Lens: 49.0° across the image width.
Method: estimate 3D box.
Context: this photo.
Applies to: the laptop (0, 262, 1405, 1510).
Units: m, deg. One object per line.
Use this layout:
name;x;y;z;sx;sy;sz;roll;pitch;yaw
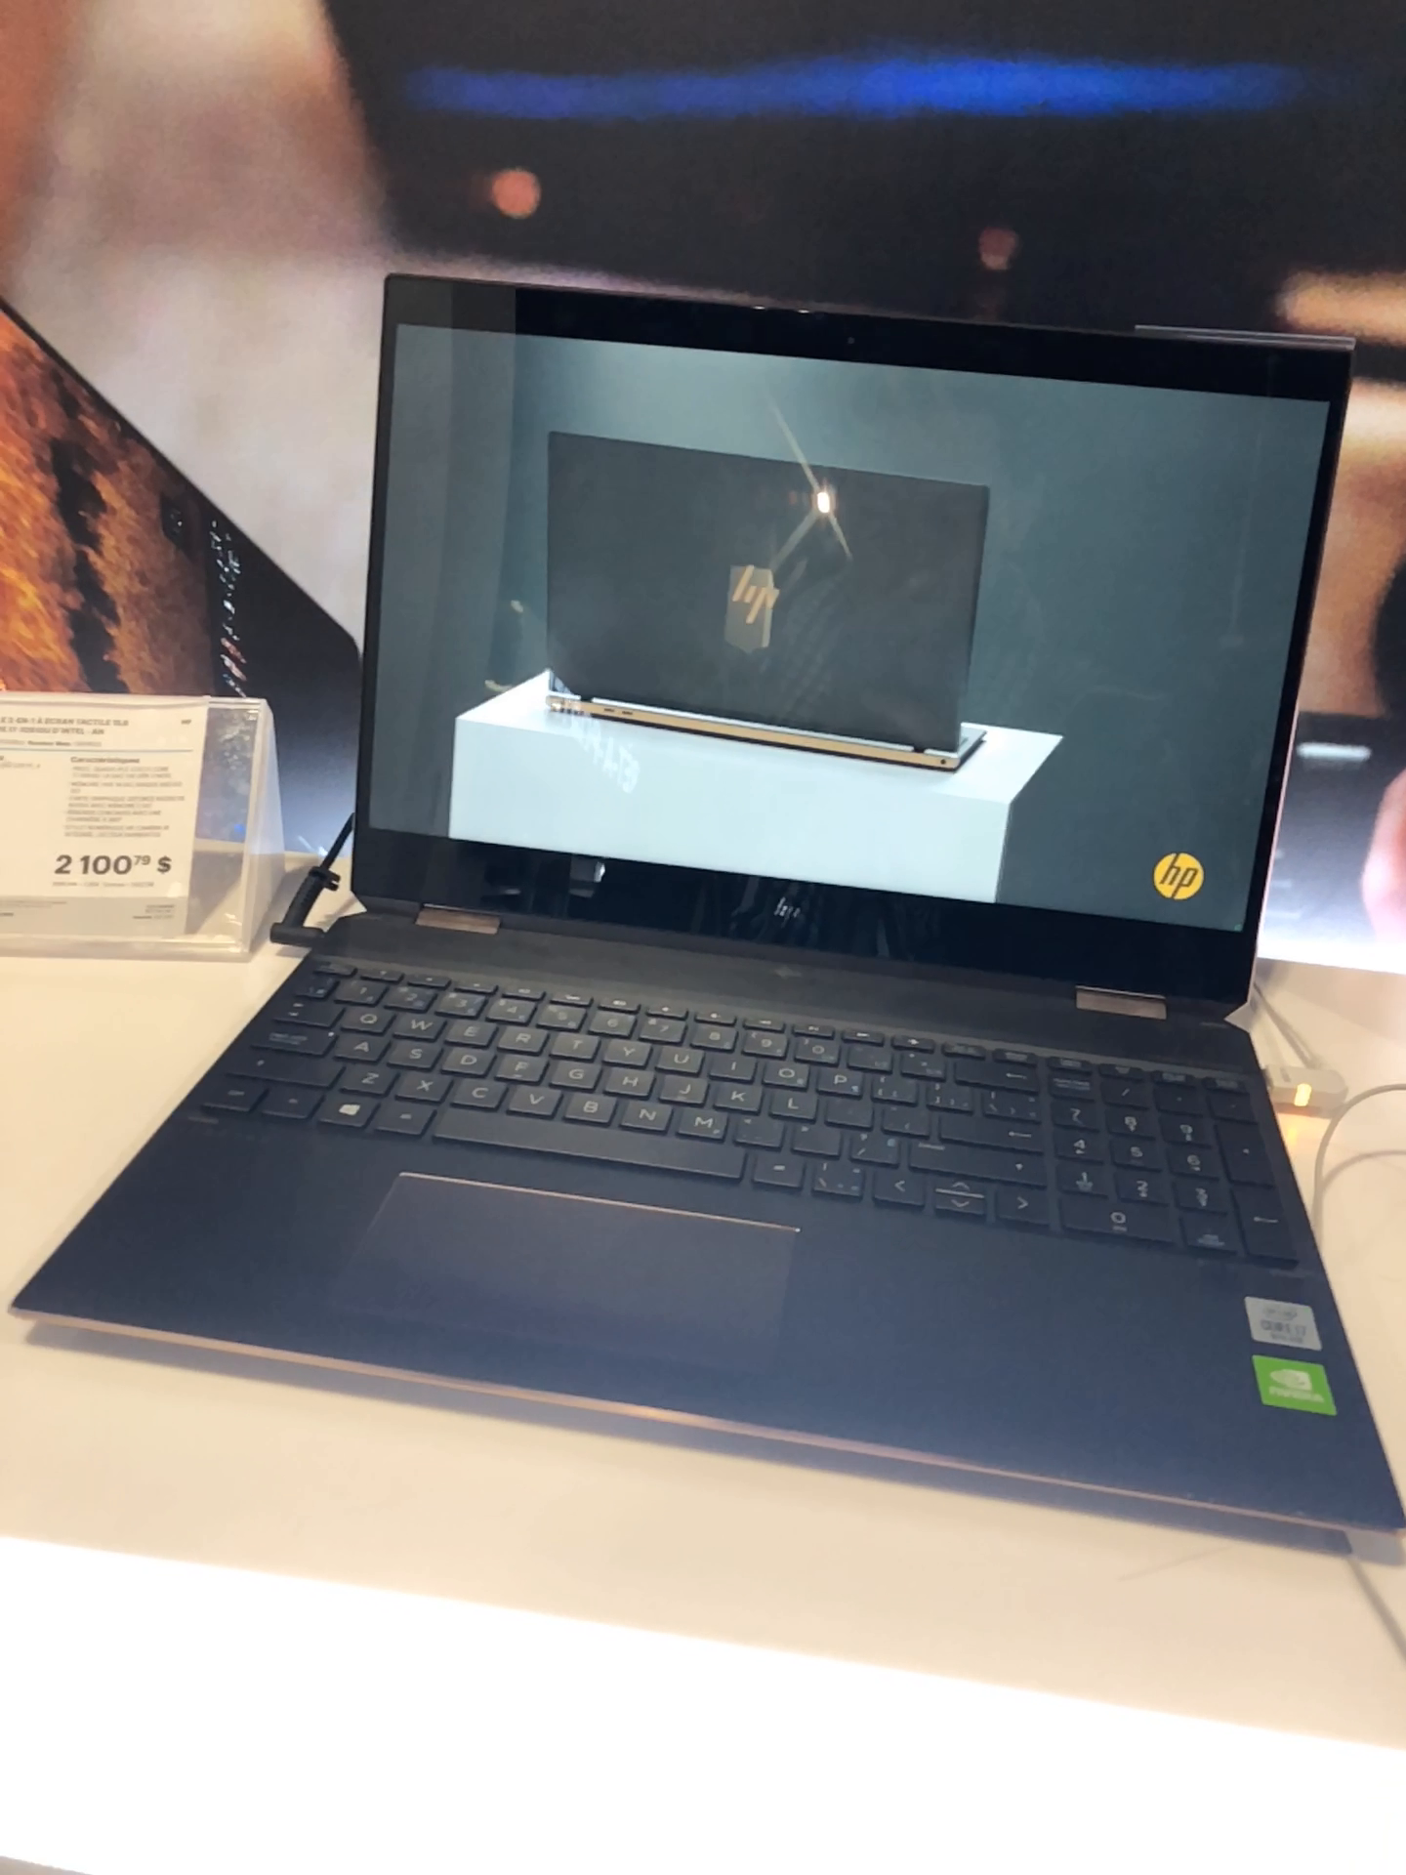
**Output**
laptop;0.021;-0.058;0.465;0.332;0.226;0.323;7;26;4
